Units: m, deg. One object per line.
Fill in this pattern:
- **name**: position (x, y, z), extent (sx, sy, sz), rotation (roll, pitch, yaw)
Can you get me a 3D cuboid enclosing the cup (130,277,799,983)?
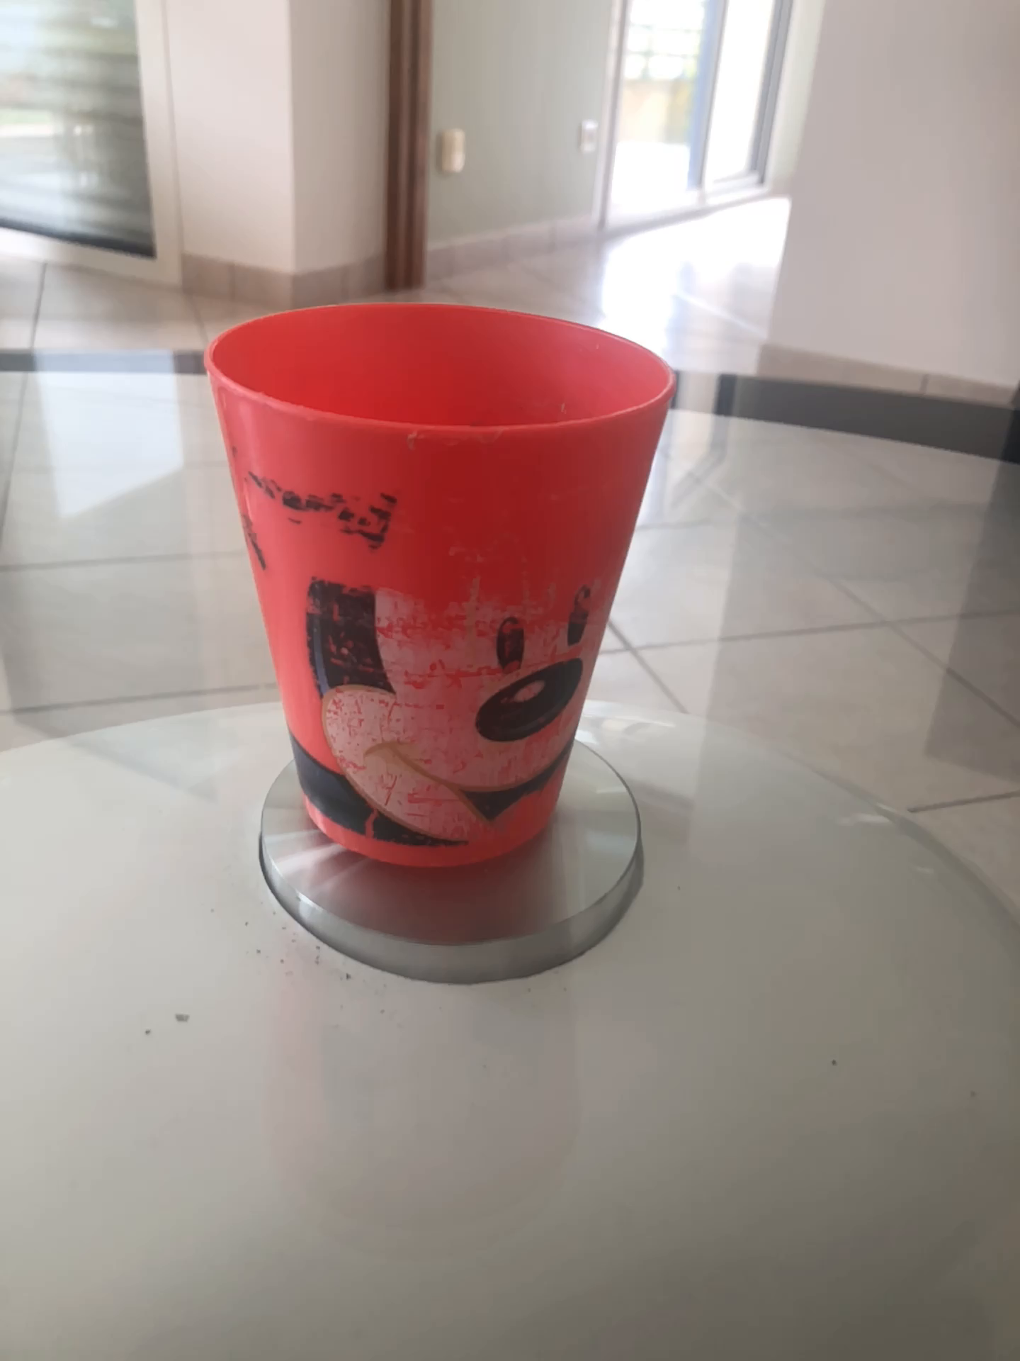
- **cup**: position (-0.014, -0.018, 0.204), extent (0.080, 0.089, 0.080), rotation (4, 28, -2)
